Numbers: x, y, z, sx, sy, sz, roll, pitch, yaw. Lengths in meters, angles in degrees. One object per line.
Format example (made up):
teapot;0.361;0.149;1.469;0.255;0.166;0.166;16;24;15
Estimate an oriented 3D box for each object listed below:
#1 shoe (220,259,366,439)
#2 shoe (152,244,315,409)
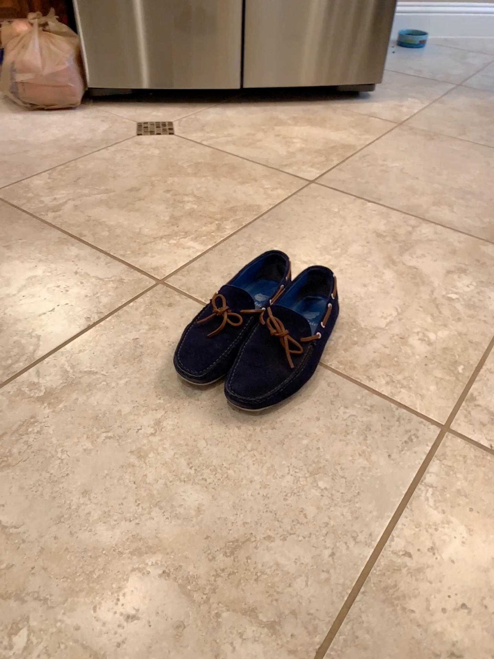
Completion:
shoe;0.074;0.012;0.723;0.099;0.074;0.282;20;44;19
shoe;-0.009;-0.019;0.758;0.099;0.074;0.282;23;45;22
